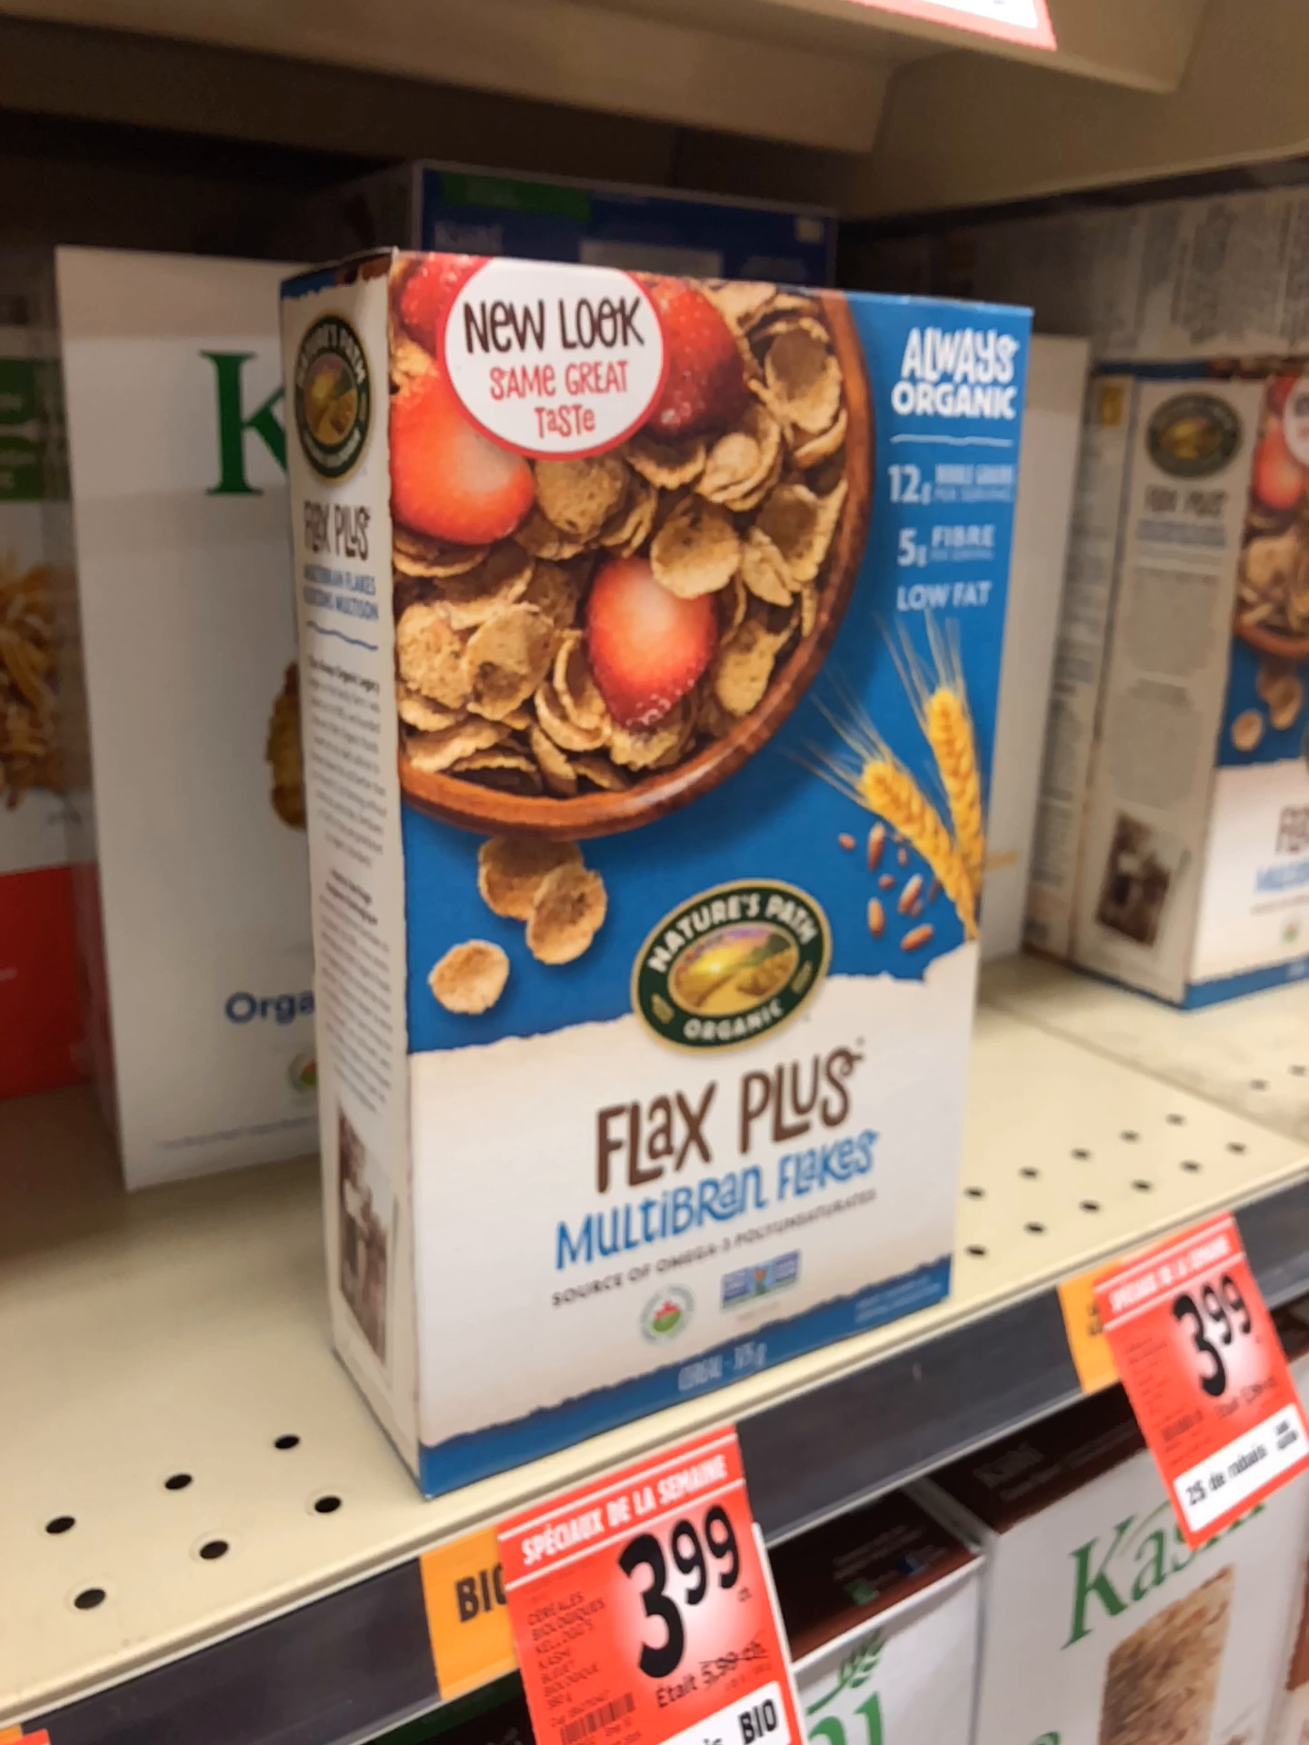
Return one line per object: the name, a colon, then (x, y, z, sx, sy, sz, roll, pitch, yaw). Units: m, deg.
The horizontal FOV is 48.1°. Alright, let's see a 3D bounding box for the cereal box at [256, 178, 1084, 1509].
cereal box: (0.003, -0.009, 0.358, 0.170, 0.269, 0.070, -8, 19, -31)
